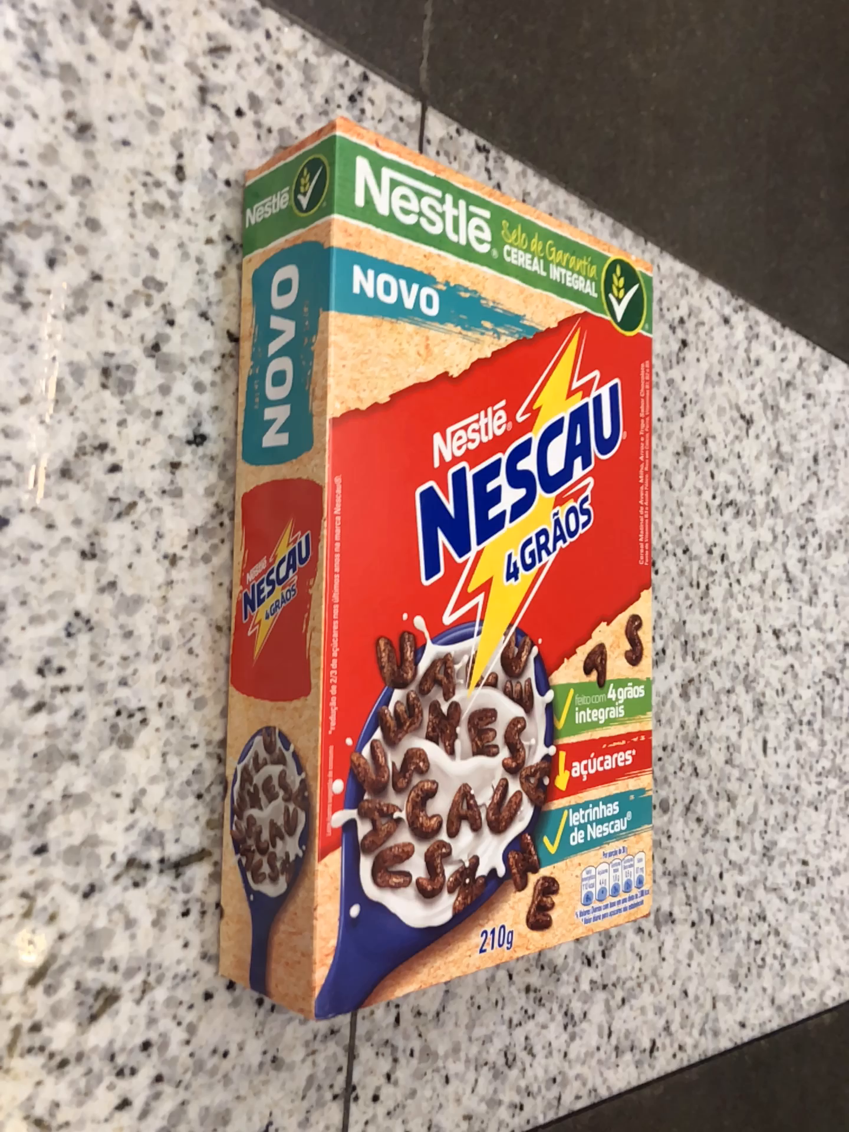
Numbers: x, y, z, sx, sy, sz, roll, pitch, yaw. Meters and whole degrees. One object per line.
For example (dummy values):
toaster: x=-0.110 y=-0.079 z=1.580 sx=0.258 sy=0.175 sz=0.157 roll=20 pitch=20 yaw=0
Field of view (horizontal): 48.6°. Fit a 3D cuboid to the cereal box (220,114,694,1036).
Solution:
cereal box: x=0.023 y=0.004 z=0.320 sx=0.171 sy=0.050 sz=0.240 roll=4 pitch=86 yaw=-42
